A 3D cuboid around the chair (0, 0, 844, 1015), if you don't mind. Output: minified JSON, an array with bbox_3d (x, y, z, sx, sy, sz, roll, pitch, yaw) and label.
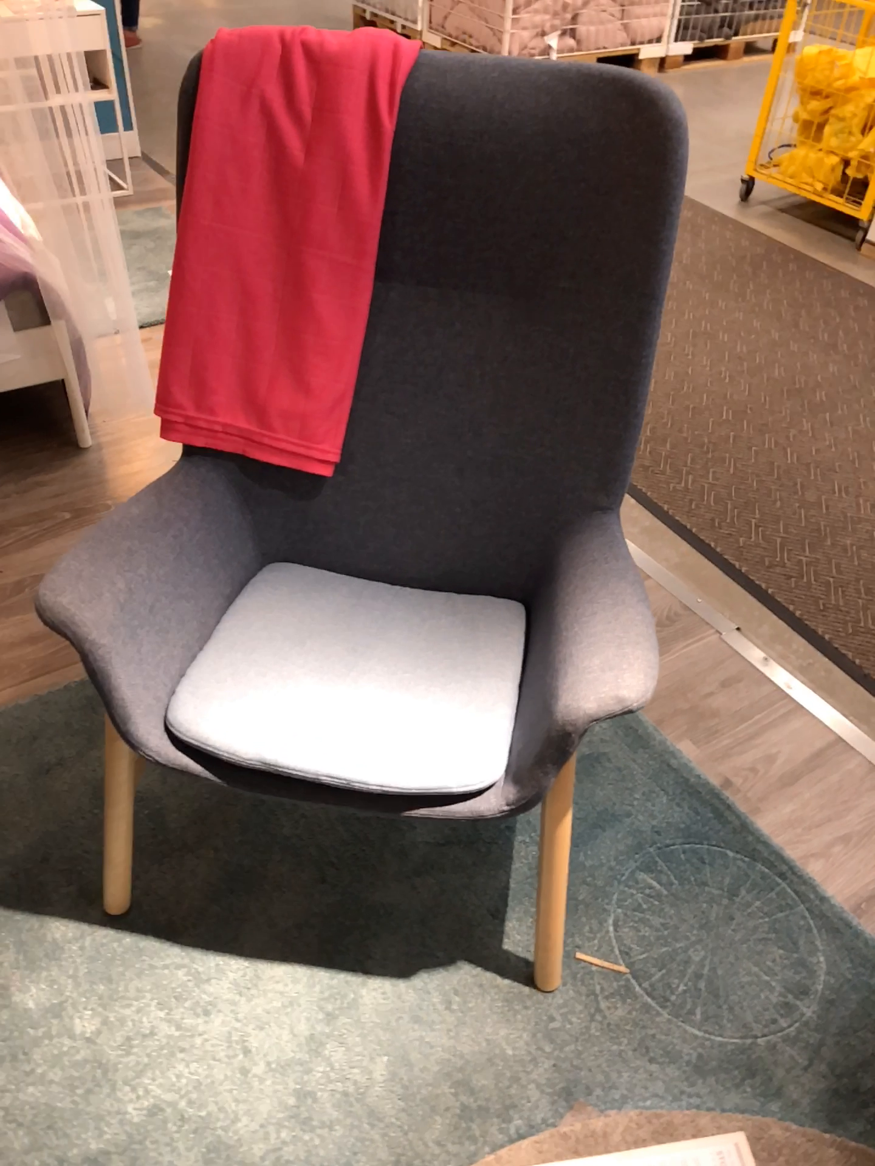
[{"bbox_3d":[-0.107,-0.091,1.229,0.790,0.996,0.703,8,40,5],"label":"chair"}]
